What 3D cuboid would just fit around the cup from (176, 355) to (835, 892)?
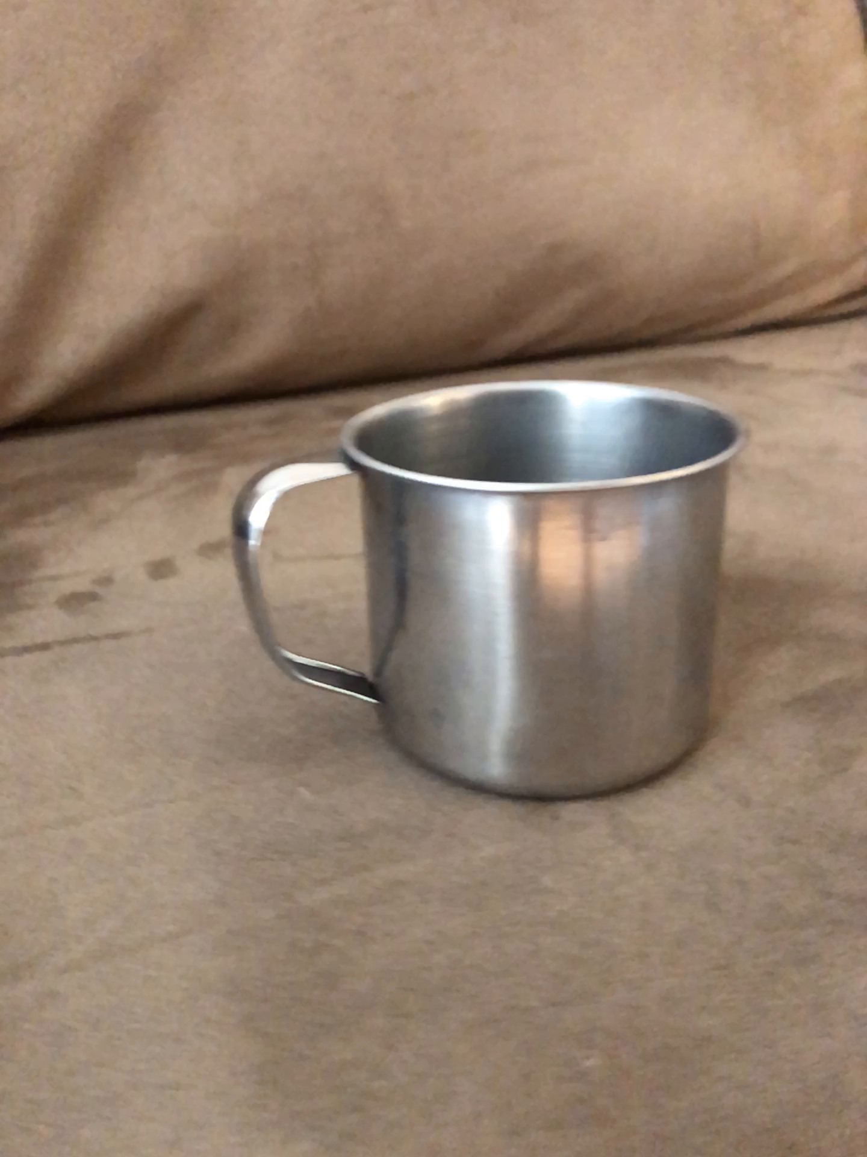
[{"bbox_3d":[0.009,-0.002,0.217,0.110,0.070,0.090,-11,24,-18],"label":"cup"}]
